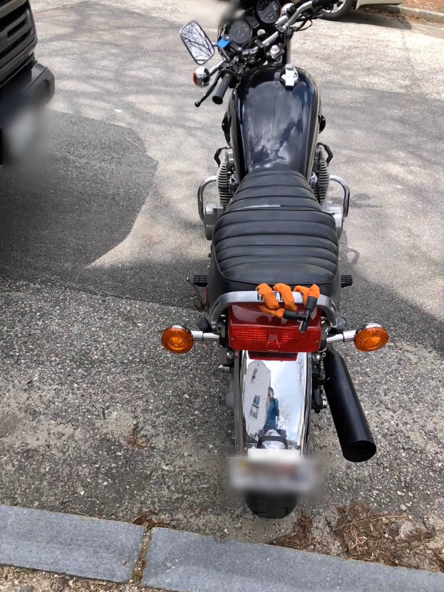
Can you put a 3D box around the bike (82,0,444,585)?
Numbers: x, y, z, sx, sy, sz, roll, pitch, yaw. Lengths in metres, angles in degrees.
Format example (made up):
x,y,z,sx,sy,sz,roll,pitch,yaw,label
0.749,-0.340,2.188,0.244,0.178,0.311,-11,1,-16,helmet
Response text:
x,y,z,sx,sy,sz,roll,pitch,yaw,label
0.140,-0.428,1.926,0.685,1.418,2.312,5,41,-2,bike
